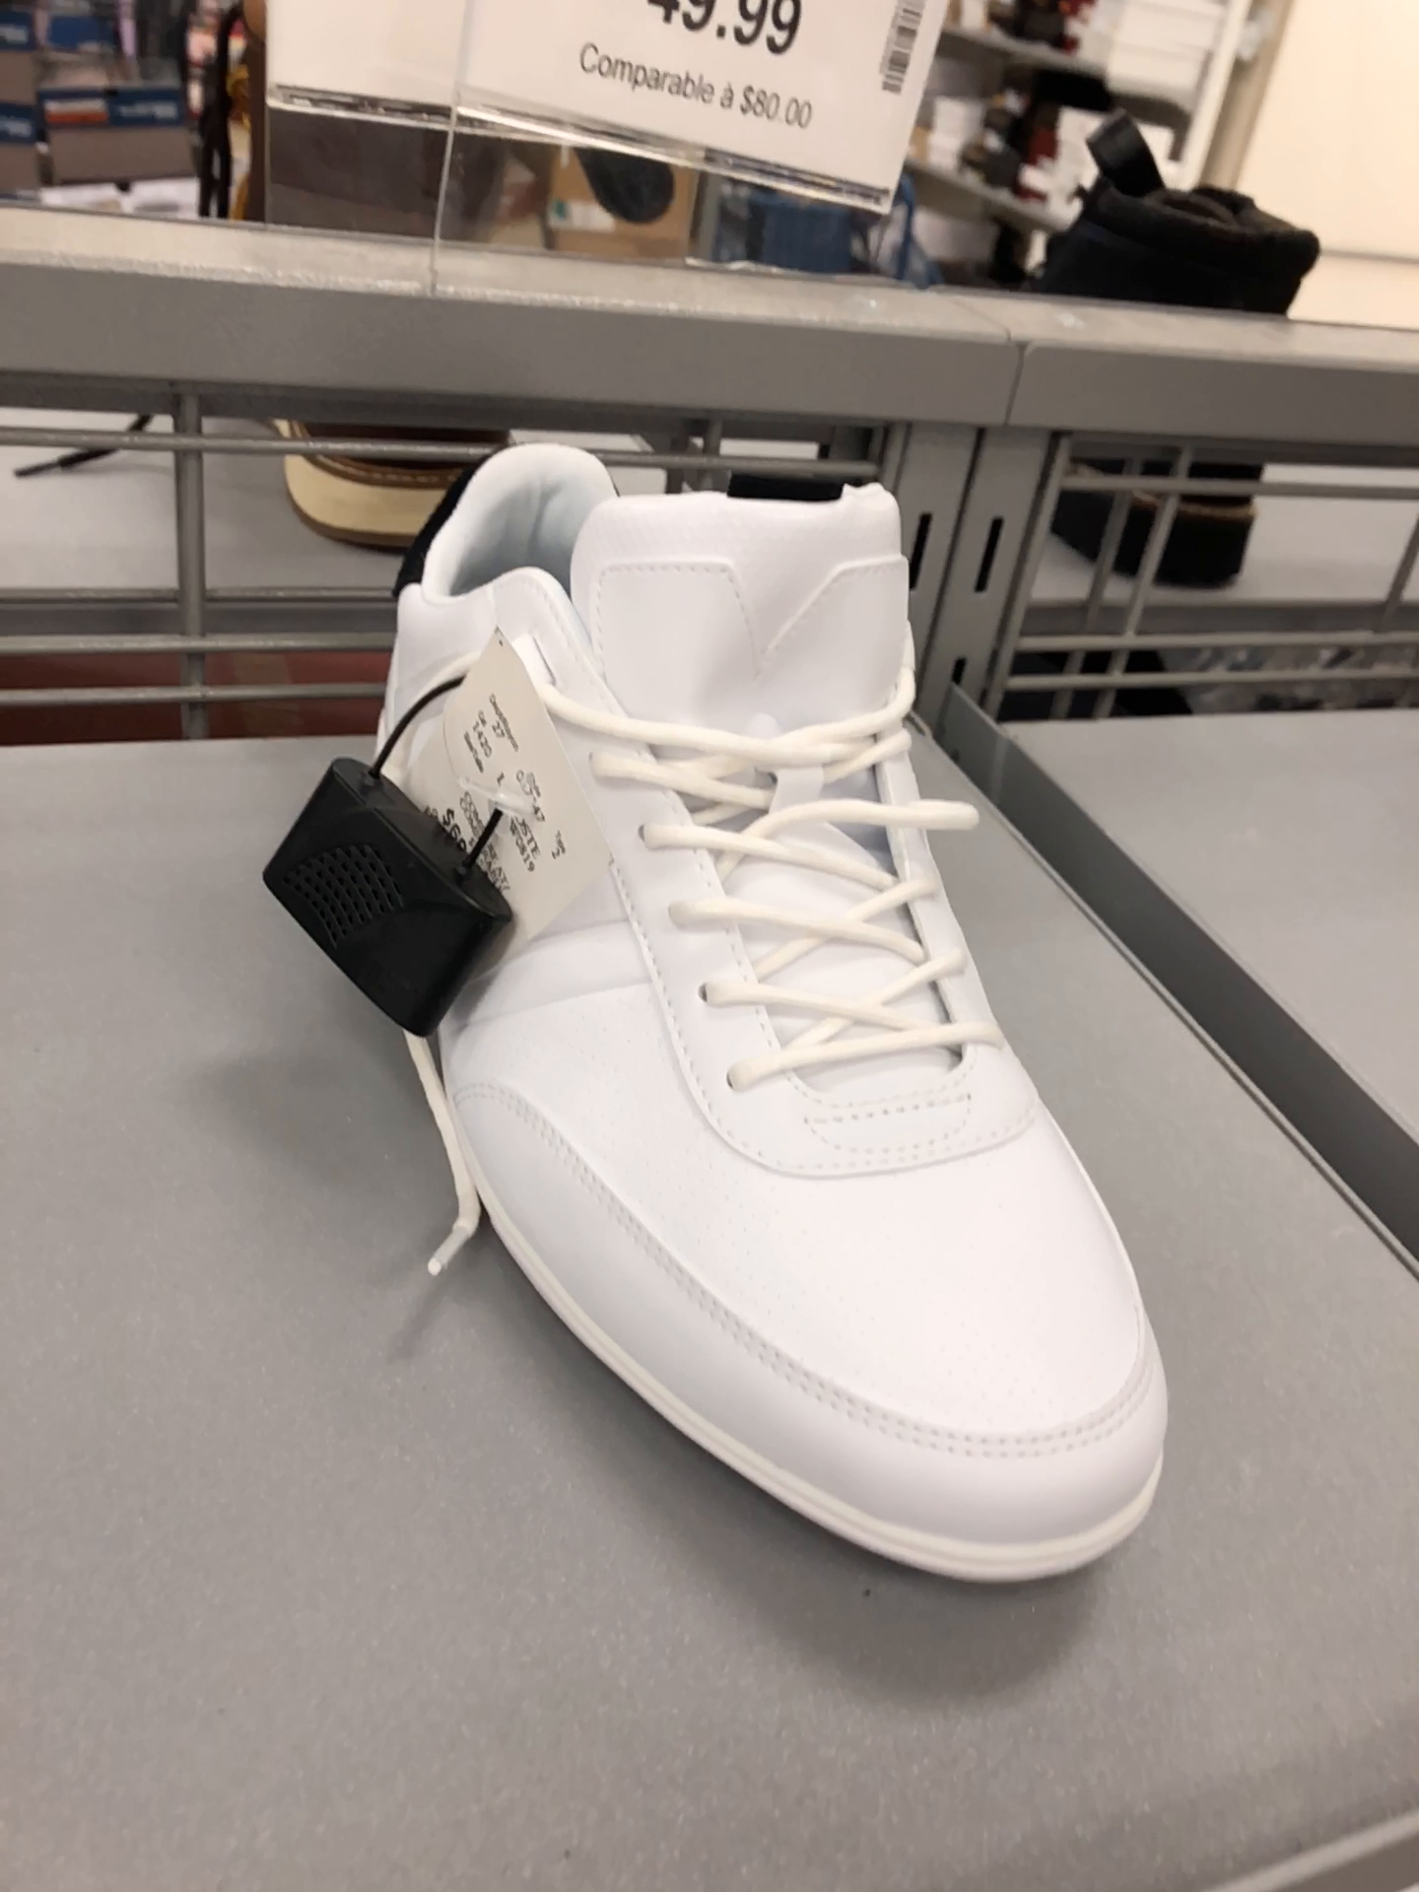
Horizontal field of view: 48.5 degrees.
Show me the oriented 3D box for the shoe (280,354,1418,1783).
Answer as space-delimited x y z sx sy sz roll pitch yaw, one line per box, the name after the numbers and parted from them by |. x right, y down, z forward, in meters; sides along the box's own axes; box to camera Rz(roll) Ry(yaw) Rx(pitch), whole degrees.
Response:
0.003 -0.014 0.310 0.110 0.119 0.272 -8 37 -26 | shoe
